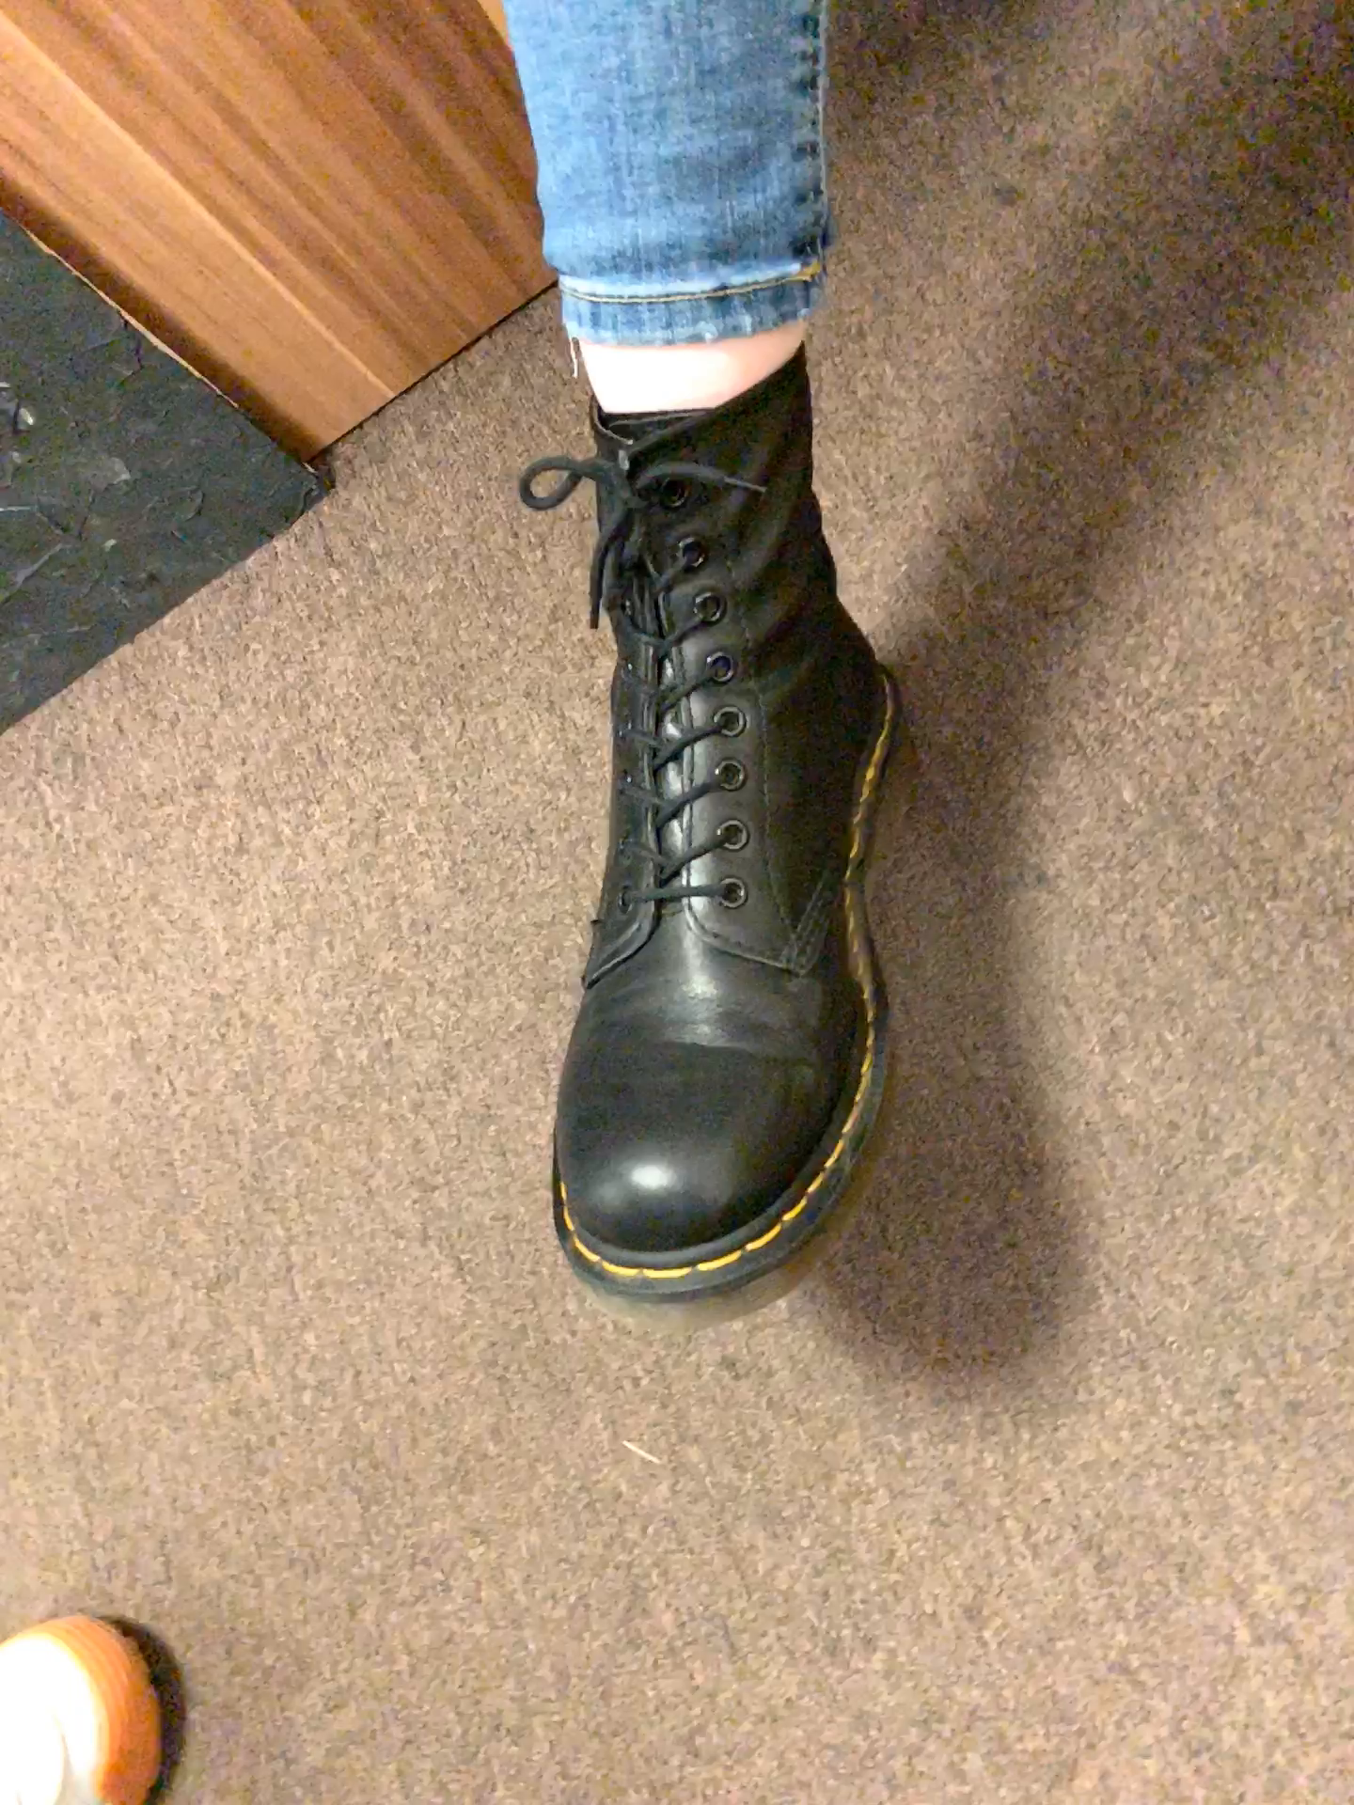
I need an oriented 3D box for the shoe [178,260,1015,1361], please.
[{"bbox_3d":[0.010,-0.042,0.414,0.120,0.150,0.290,0,47,25],"label":"shoe"}]
